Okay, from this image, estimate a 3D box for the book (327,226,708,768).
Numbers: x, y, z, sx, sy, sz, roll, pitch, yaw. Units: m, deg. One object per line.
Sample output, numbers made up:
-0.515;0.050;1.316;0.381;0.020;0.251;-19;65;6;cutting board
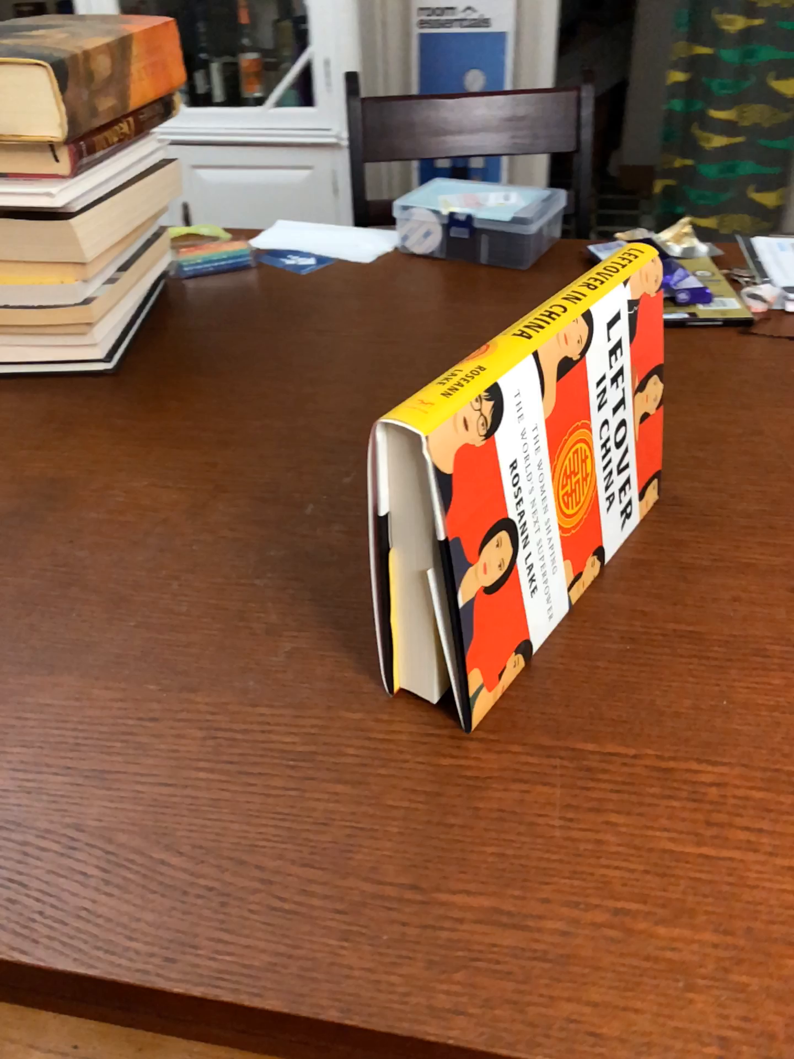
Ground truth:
0.075;-0.032;0.468;0.060;0.179;0.261;21;42;29;book
